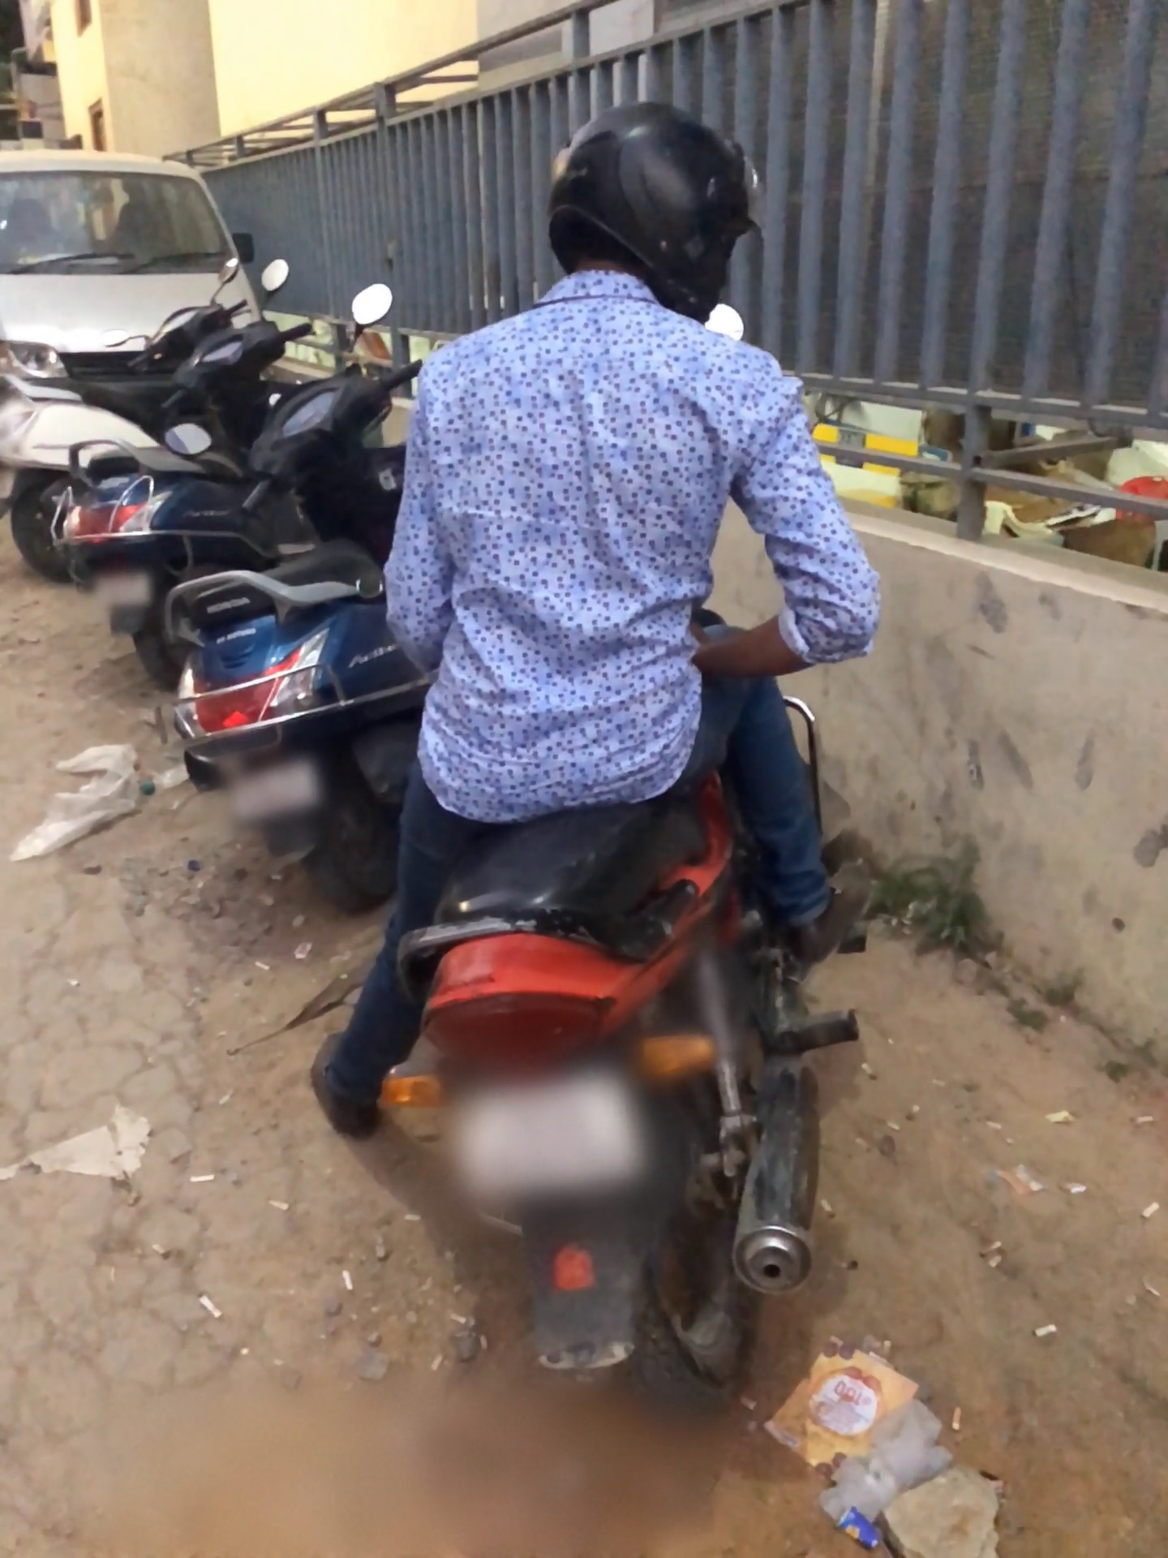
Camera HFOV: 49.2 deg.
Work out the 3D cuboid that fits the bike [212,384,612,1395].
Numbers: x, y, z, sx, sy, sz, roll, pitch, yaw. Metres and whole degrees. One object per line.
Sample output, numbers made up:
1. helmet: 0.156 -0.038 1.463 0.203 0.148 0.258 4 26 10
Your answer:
1. bike: -0.184 -0.053 2.190 0.424 0.830 1.661 0 28 1
